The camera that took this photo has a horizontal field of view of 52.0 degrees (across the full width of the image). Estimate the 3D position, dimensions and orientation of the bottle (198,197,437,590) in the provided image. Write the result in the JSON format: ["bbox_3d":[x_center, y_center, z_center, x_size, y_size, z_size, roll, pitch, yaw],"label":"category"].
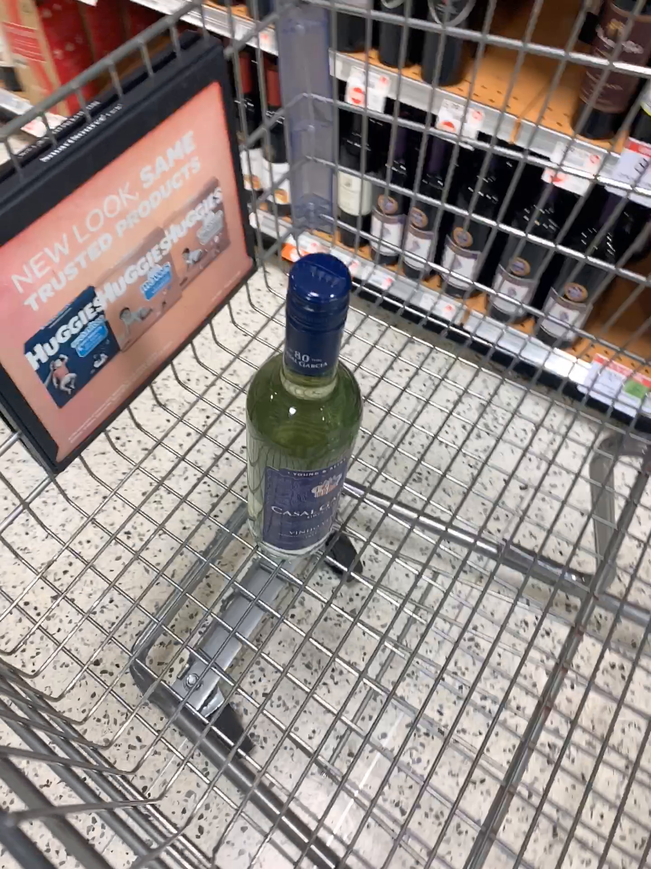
[{"bbox_3d":[-0.011,-0.004,0.450,0.090,0.278,0.080,-32,63,-23],"label":"bottle"}]
